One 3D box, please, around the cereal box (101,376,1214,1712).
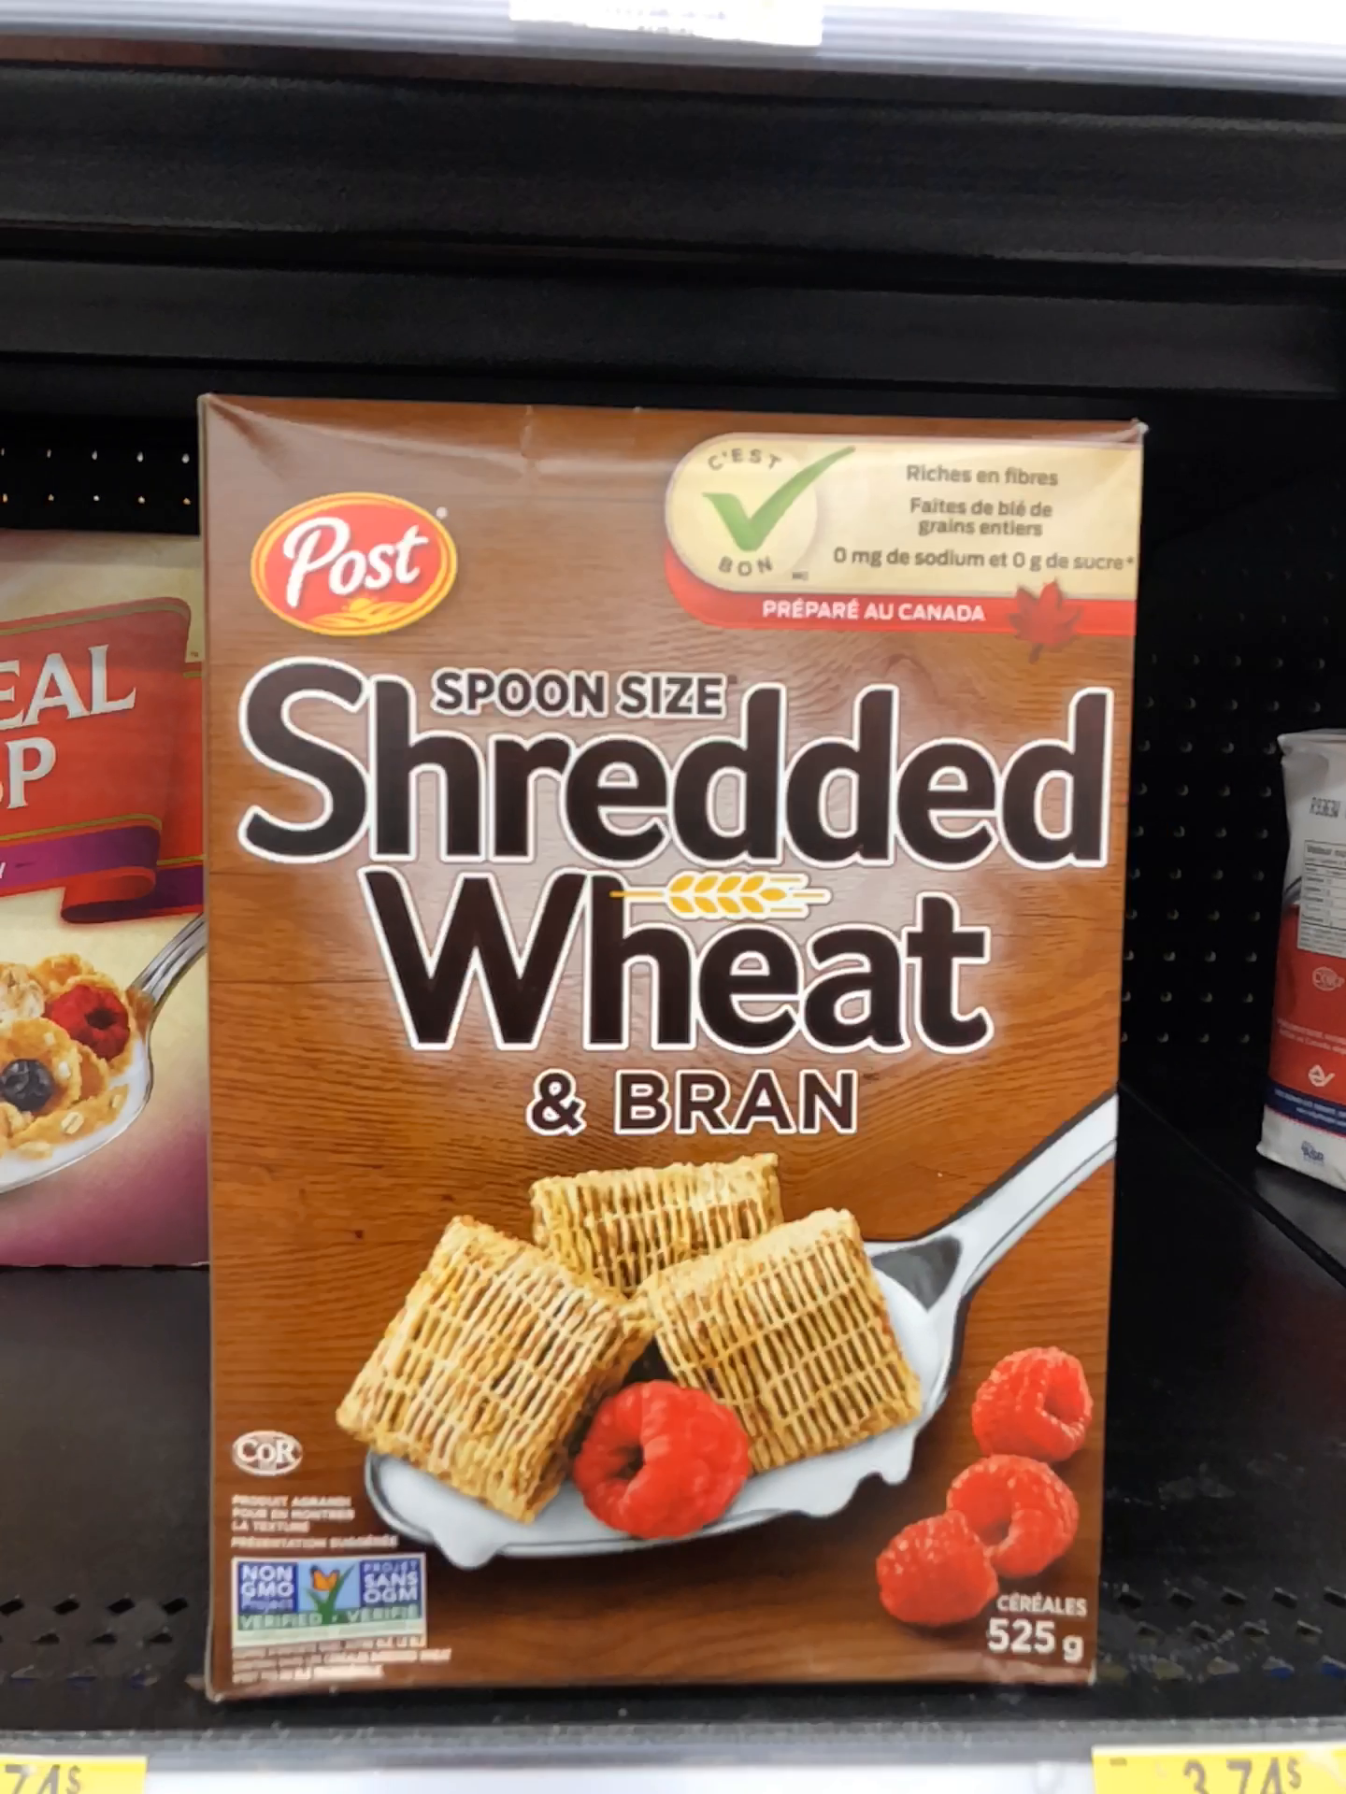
[{"bbox_3d":[-0.005,0.032,0.321,0.210,0.259,0.060,1,6,-4],"label":"cereal box"}]
